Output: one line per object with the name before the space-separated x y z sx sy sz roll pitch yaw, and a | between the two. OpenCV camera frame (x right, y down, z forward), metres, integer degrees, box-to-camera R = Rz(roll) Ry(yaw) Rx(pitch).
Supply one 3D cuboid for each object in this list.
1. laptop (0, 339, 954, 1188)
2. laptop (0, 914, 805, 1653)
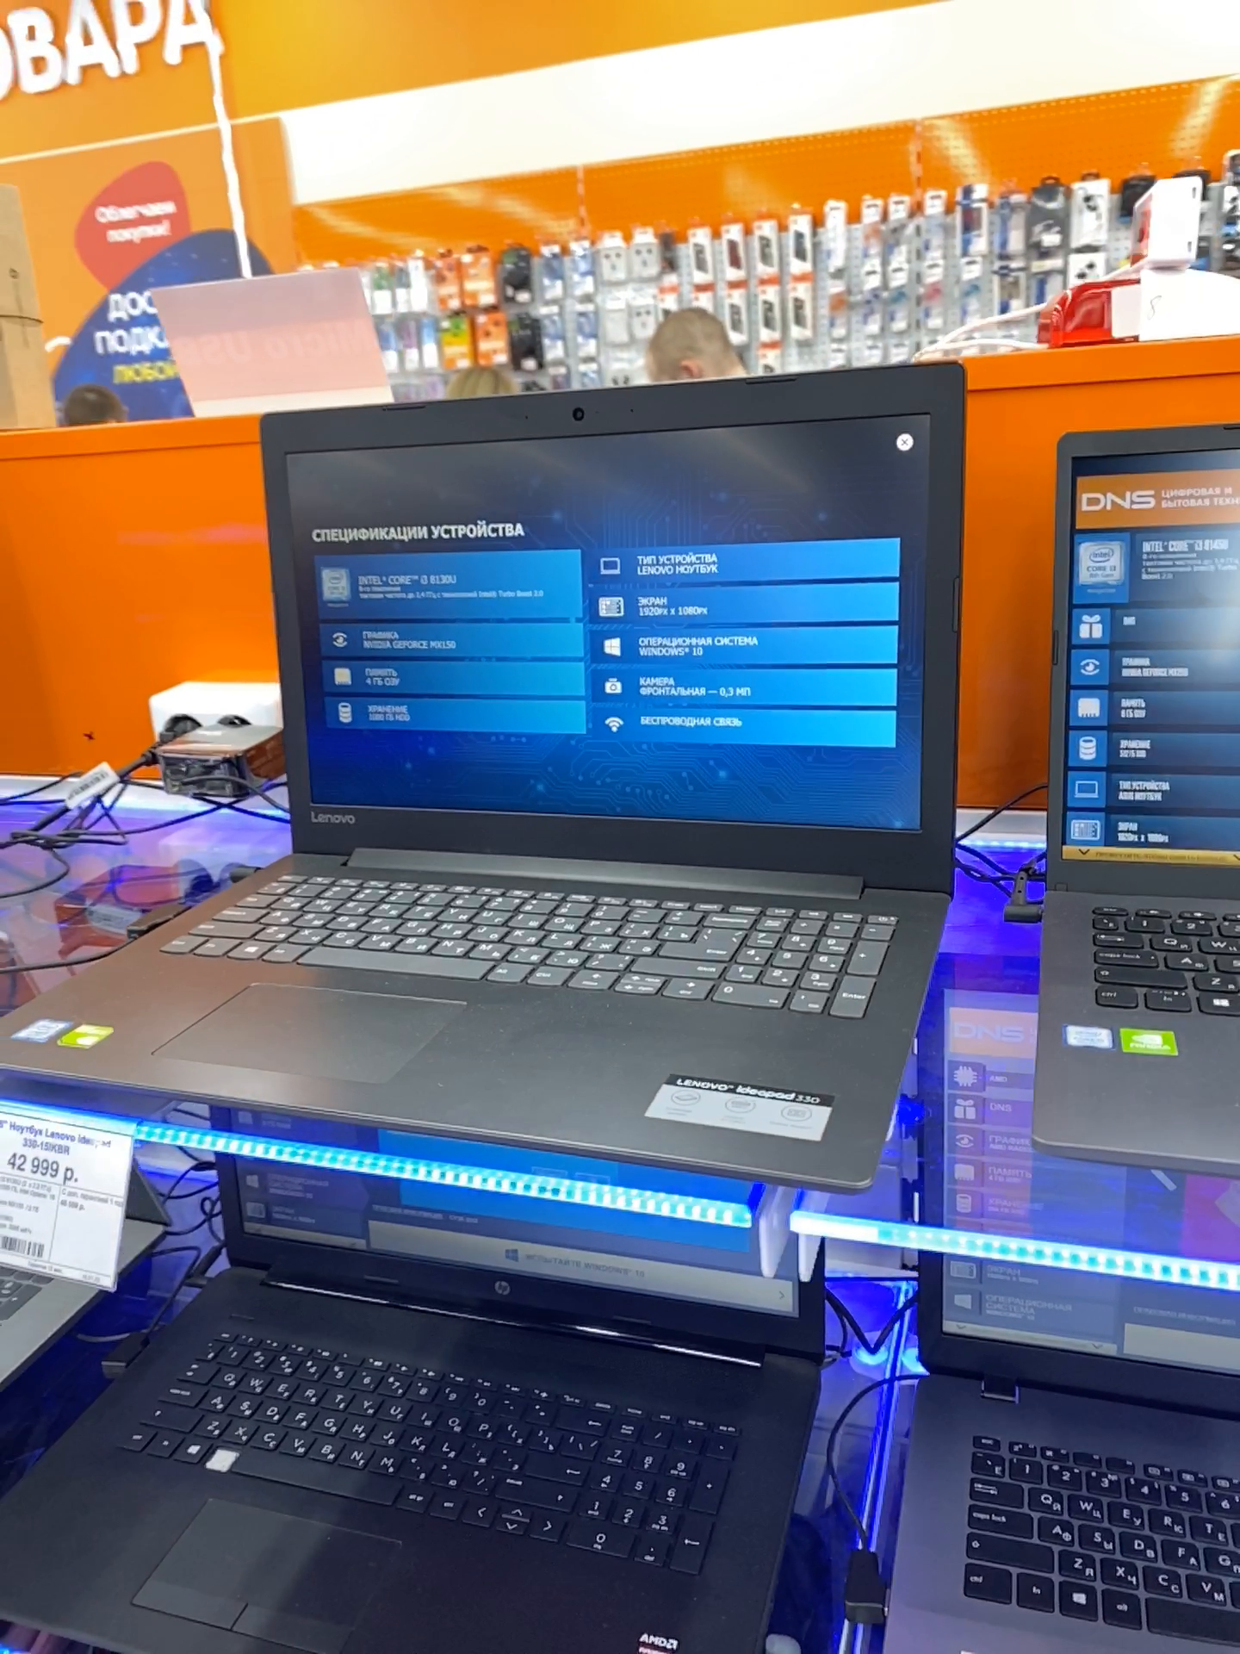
laptop | -0.063 -0.058 0.549 0.377 0.245 0.290 2 17 19
laptop | -0.124 0.223 0.658 0.401 0.263 0.272 2 15 16
